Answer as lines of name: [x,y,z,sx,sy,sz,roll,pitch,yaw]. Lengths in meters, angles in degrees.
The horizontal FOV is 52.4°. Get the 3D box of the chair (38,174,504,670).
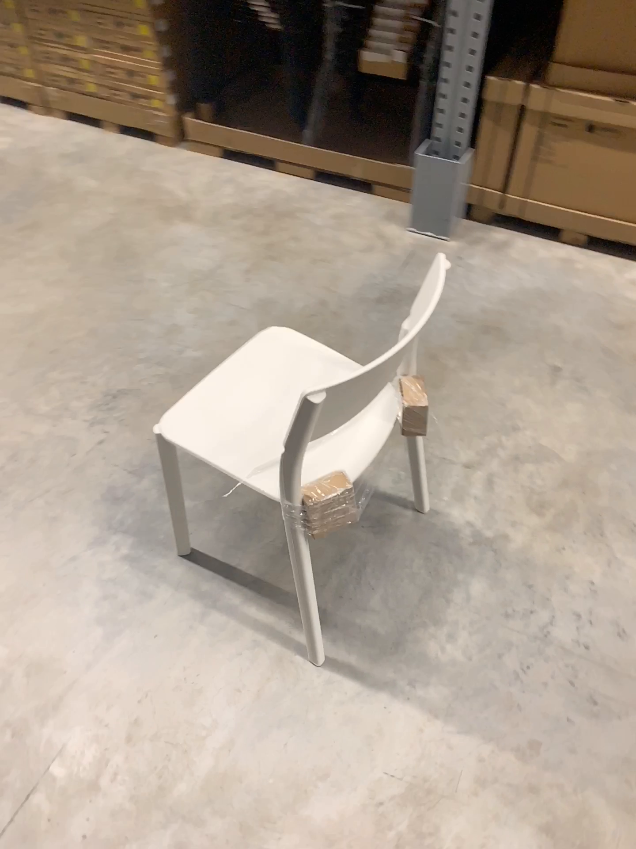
chair: [-0.055,-0.012,1.244,0.531,0.618,0.521,25,52,22]
